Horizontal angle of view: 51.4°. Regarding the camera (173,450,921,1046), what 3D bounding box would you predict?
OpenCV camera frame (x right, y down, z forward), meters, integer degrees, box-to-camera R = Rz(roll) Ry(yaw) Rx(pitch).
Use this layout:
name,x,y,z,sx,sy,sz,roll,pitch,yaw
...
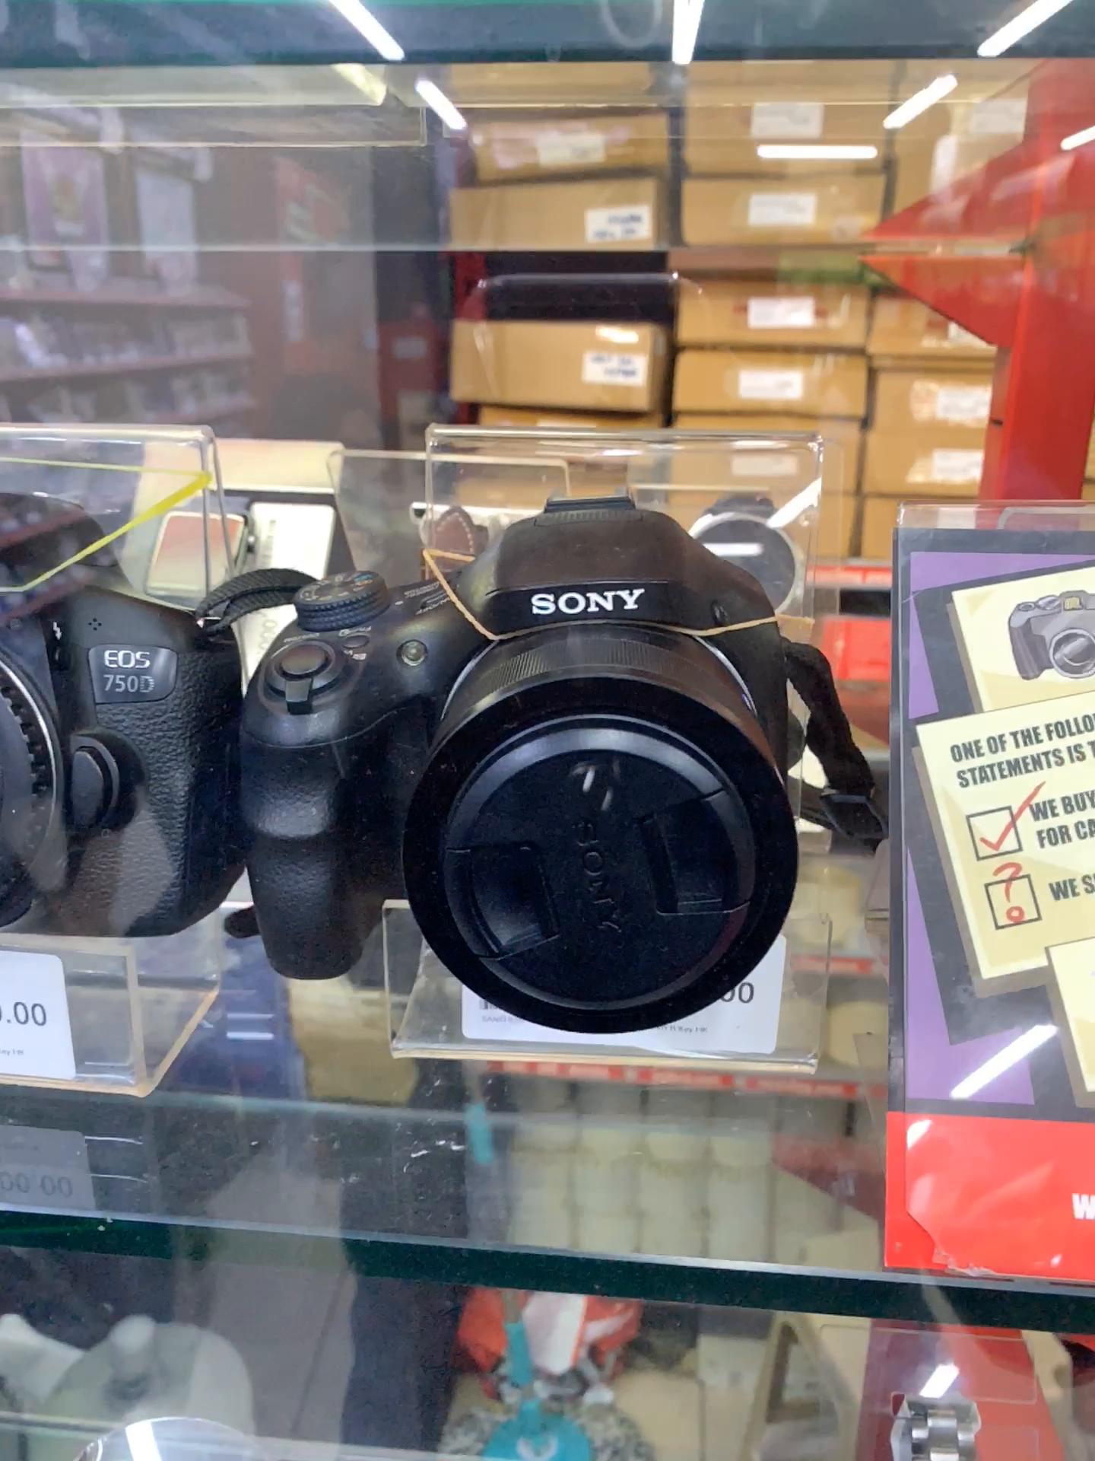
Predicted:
name,x,y,z,sx,sy,sz,roll,pitch,yaw
camera,0.000,-0.003,0.241,0.120,0.100,0.090,1,19,1
